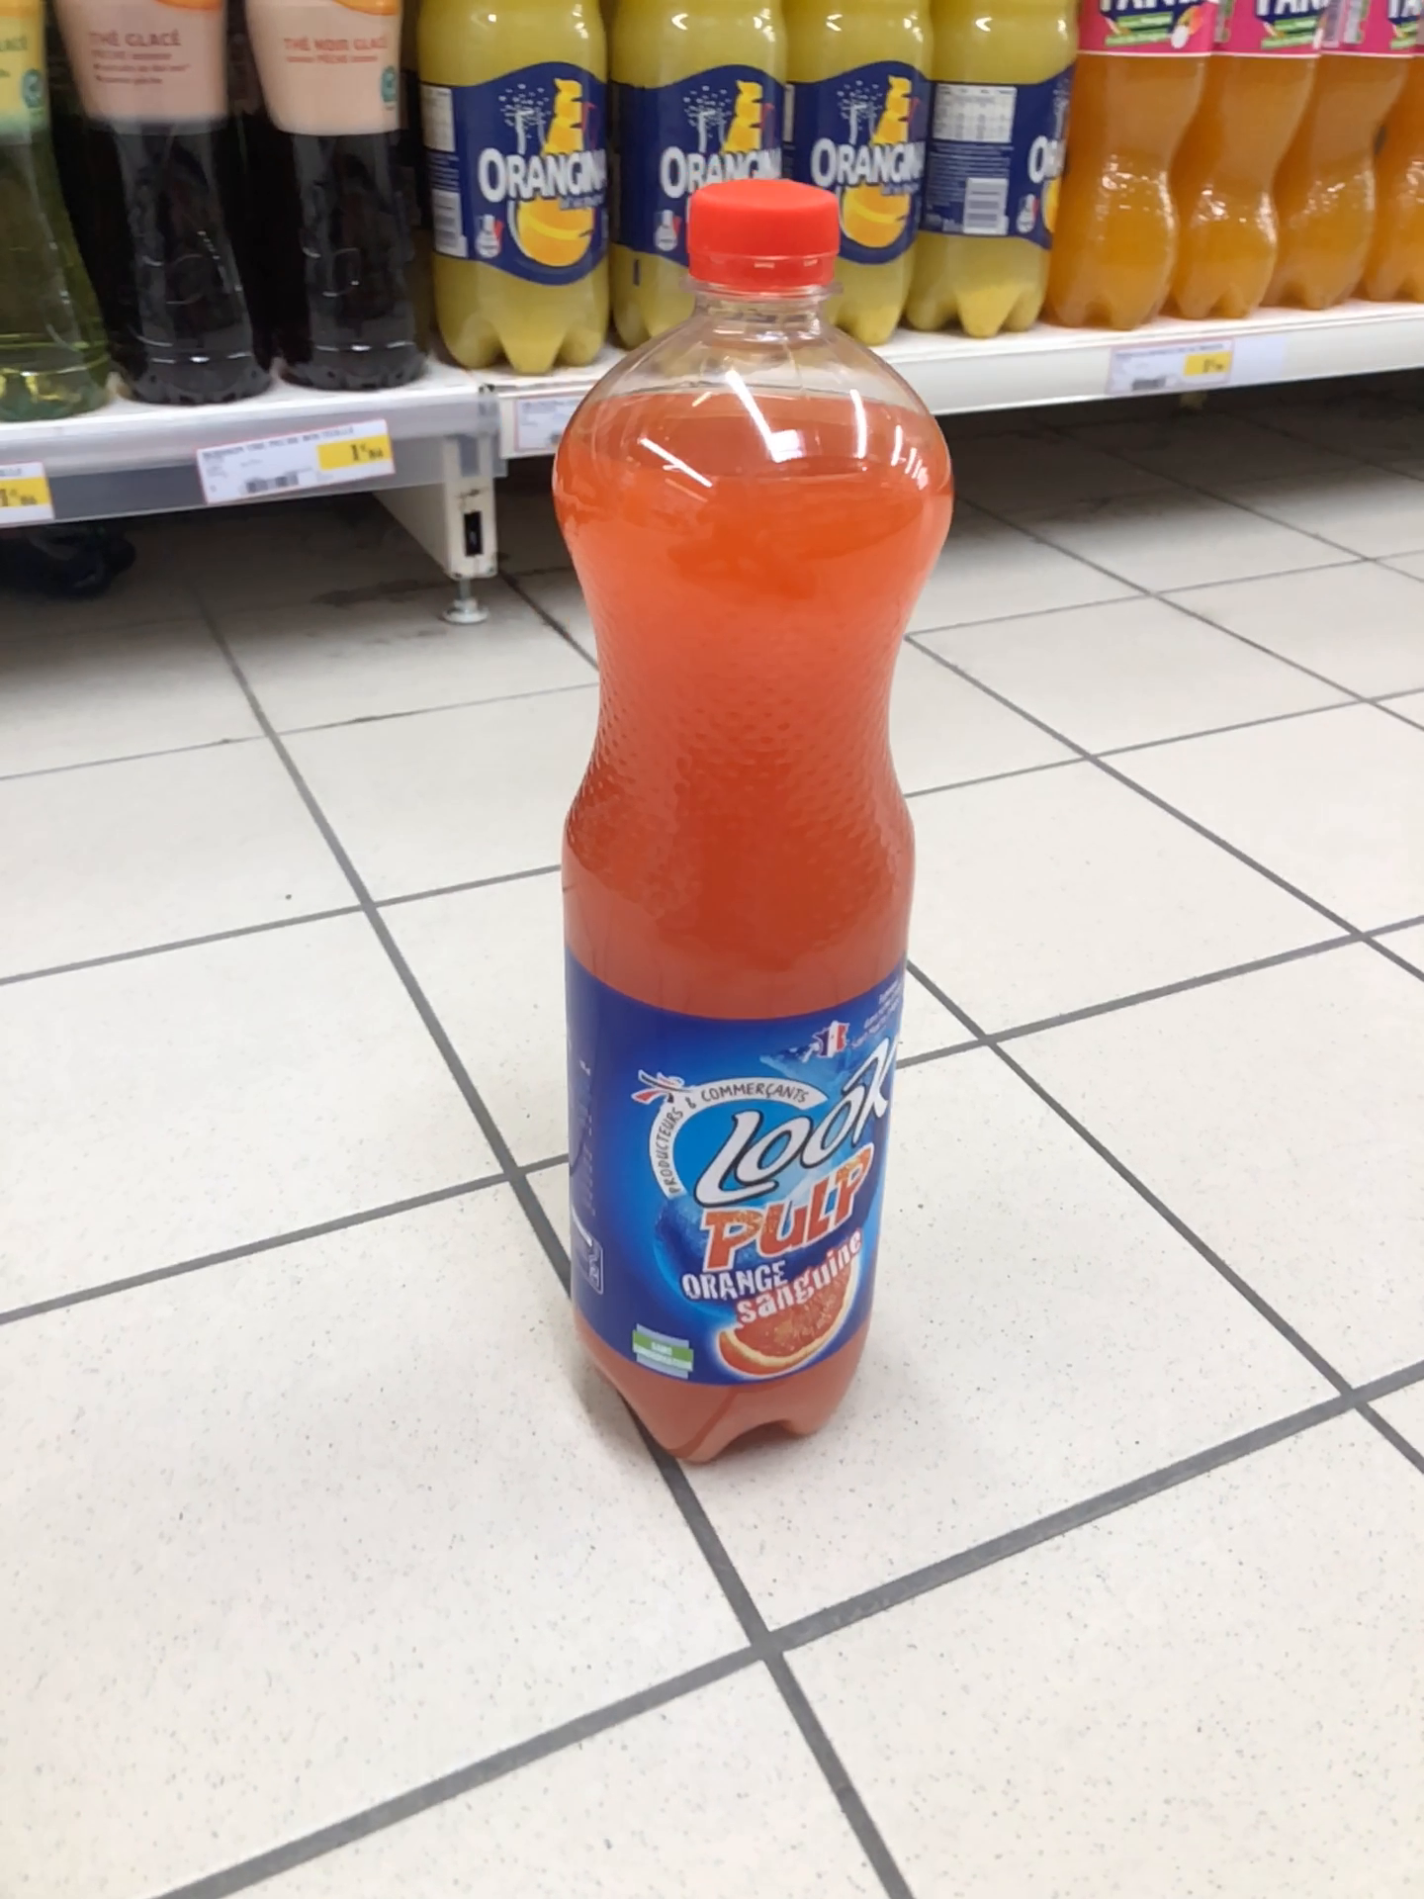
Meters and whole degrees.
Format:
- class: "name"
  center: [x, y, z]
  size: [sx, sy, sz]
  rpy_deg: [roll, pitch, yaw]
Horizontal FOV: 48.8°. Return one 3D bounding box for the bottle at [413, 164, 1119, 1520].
- class: "bottle"
  center: [0.002, -0.017, 0.387]
  size: [0.110, 0.308, 0.100]
  rpy_deg: [1, 31, -1]
